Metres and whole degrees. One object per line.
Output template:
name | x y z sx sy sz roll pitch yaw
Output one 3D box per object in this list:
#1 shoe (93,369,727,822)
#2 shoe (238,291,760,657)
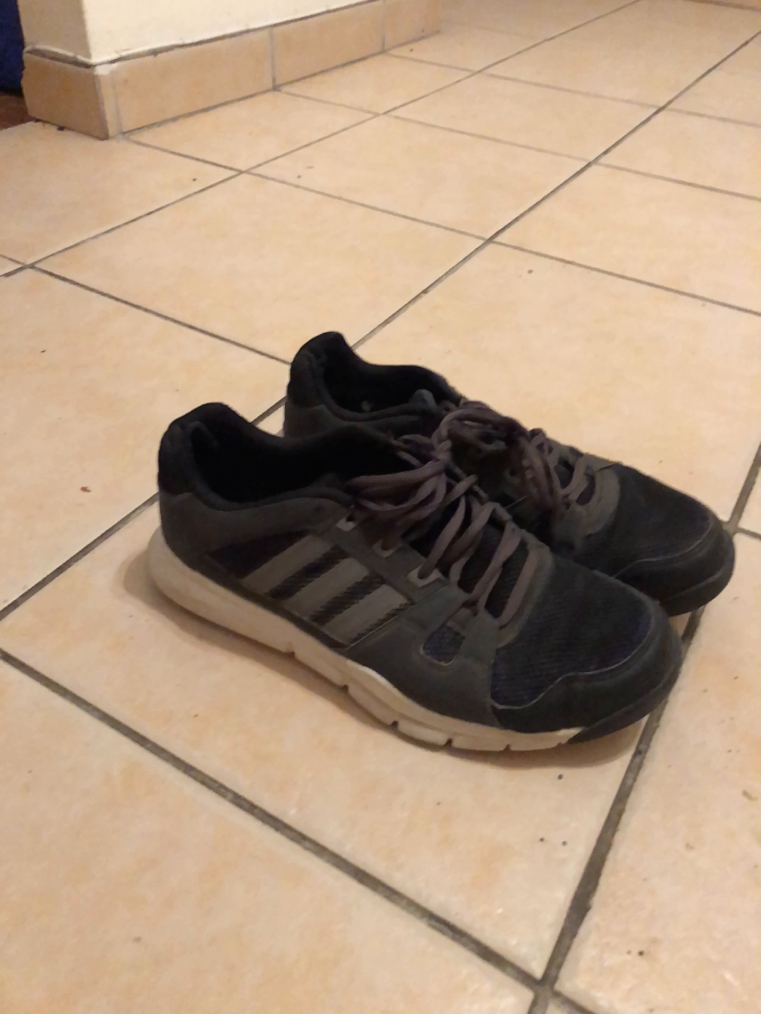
shoe | 0.011 0.030 0.424 0.280 0.099 0.111 18 38 17
shoe | 0.070 -0.031 0.505 0.280 0.099 0.121 17 41 16
